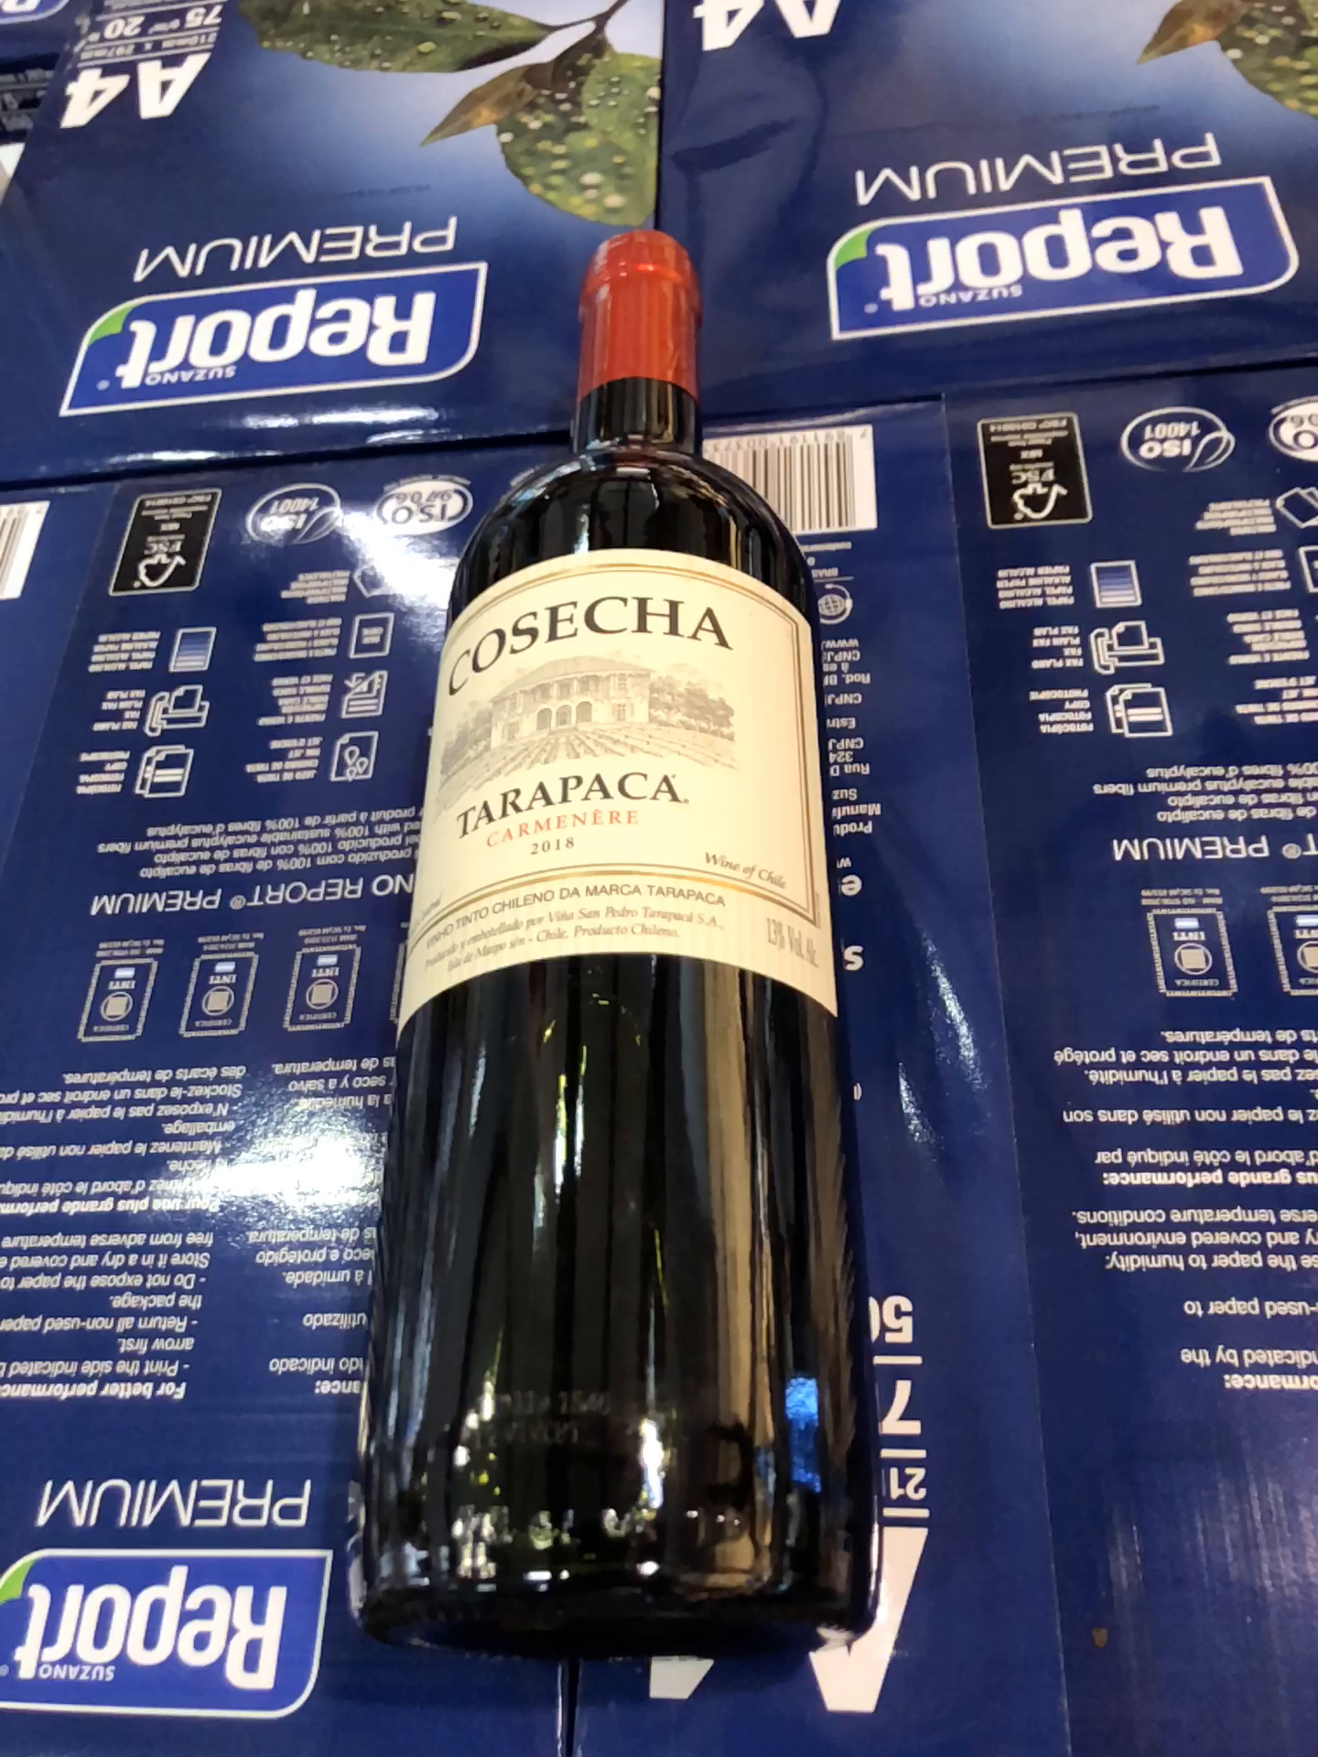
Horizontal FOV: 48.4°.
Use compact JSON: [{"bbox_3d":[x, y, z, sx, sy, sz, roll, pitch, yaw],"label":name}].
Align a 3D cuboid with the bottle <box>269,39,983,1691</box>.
[{"bbox_3d":[0.001,-0.037,0.278,0.080,0.060,0.332,-4,56,7],"label":"bottle"}]
